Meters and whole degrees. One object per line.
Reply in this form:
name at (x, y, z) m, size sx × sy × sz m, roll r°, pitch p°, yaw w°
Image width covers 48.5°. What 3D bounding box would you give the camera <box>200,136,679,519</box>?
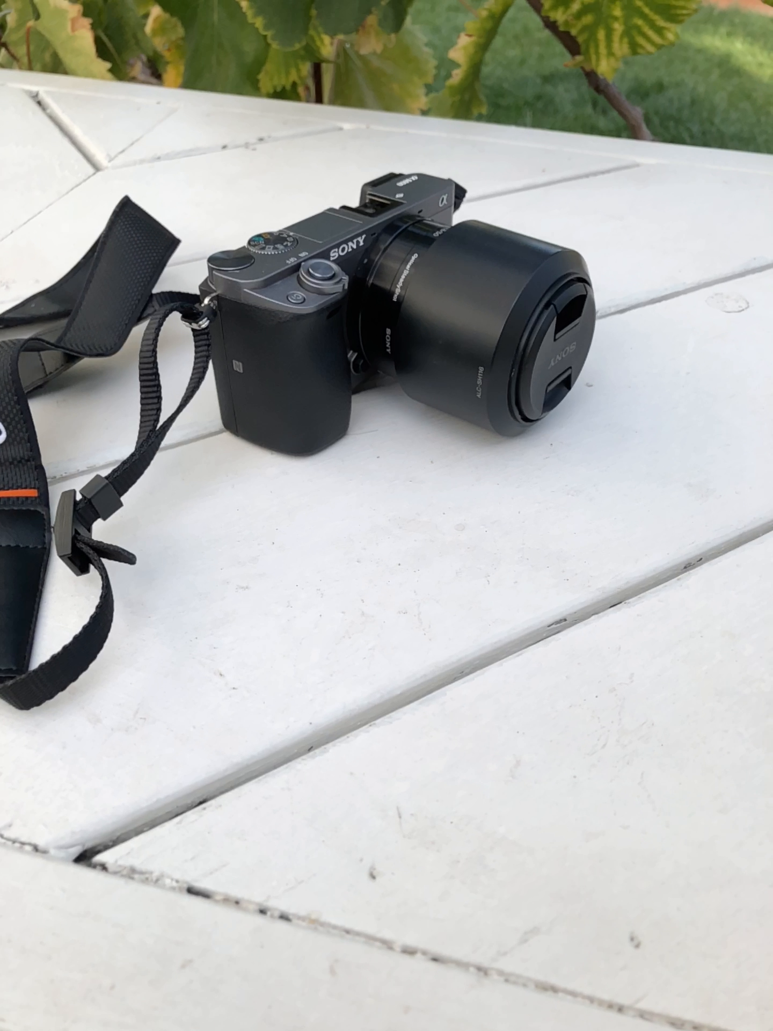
camera at (0.023, -0.082, 0.326) m, size 0.110 × 0.070 × 0.141 m, roll 27°, pitch 45°, yaw 27°
